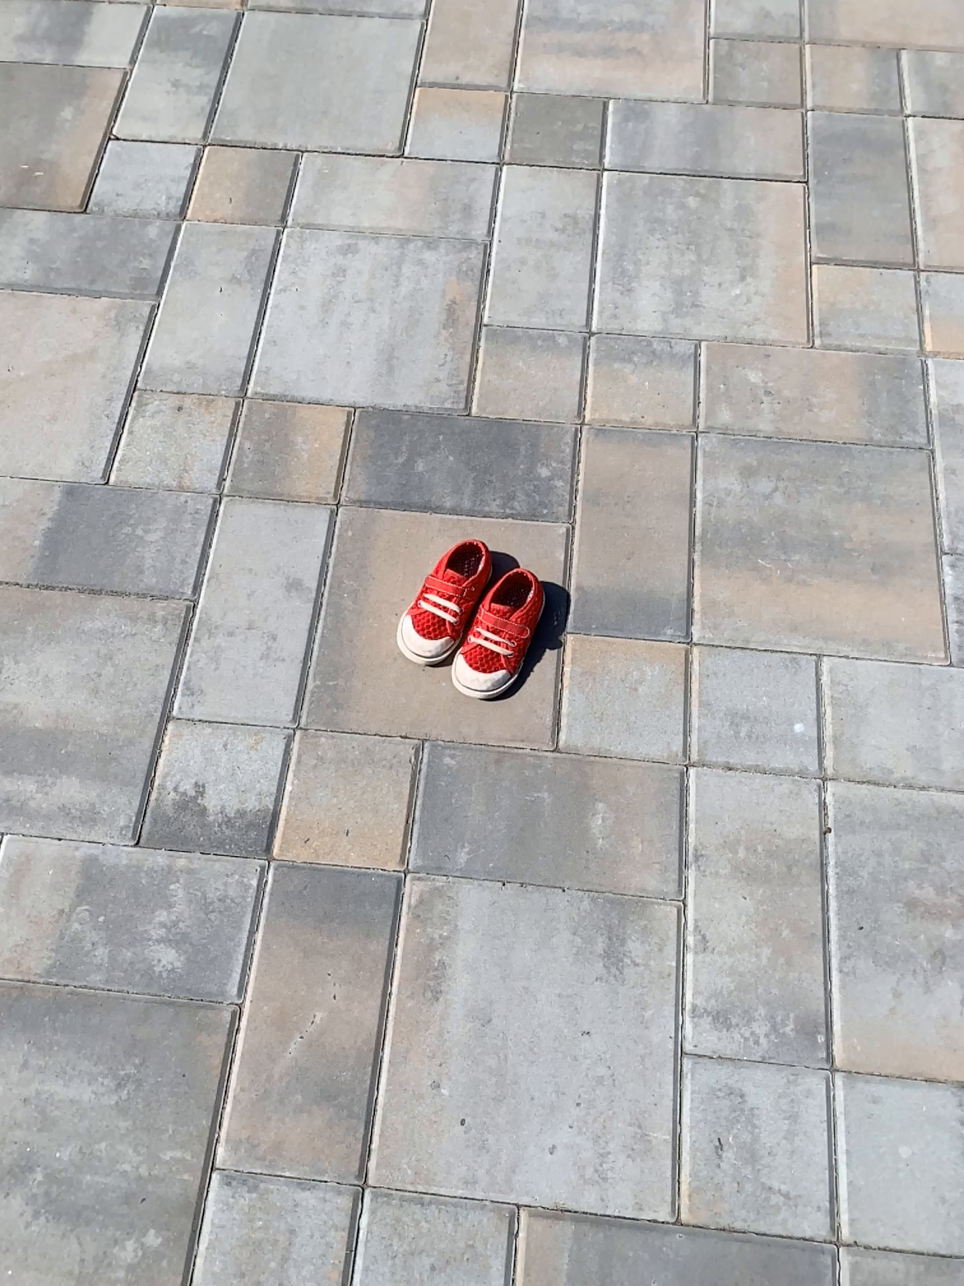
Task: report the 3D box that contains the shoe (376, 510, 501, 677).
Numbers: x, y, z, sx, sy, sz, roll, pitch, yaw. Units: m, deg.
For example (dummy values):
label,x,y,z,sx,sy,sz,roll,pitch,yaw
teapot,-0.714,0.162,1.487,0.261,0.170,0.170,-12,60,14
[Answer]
label,x,y,z,sx,sy,sz,roll,pitch,yaw
shoe,-0.048,-0.058,1.175,0.070,0.100,0.160,28,70,12

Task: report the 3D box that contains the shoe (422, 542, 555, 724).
label,x,y,z,sx,sy,sz,roll,pitch,yaw
shoe,0.009,-0.011,1.169,0.090,0.100,0.170,23,69,10
